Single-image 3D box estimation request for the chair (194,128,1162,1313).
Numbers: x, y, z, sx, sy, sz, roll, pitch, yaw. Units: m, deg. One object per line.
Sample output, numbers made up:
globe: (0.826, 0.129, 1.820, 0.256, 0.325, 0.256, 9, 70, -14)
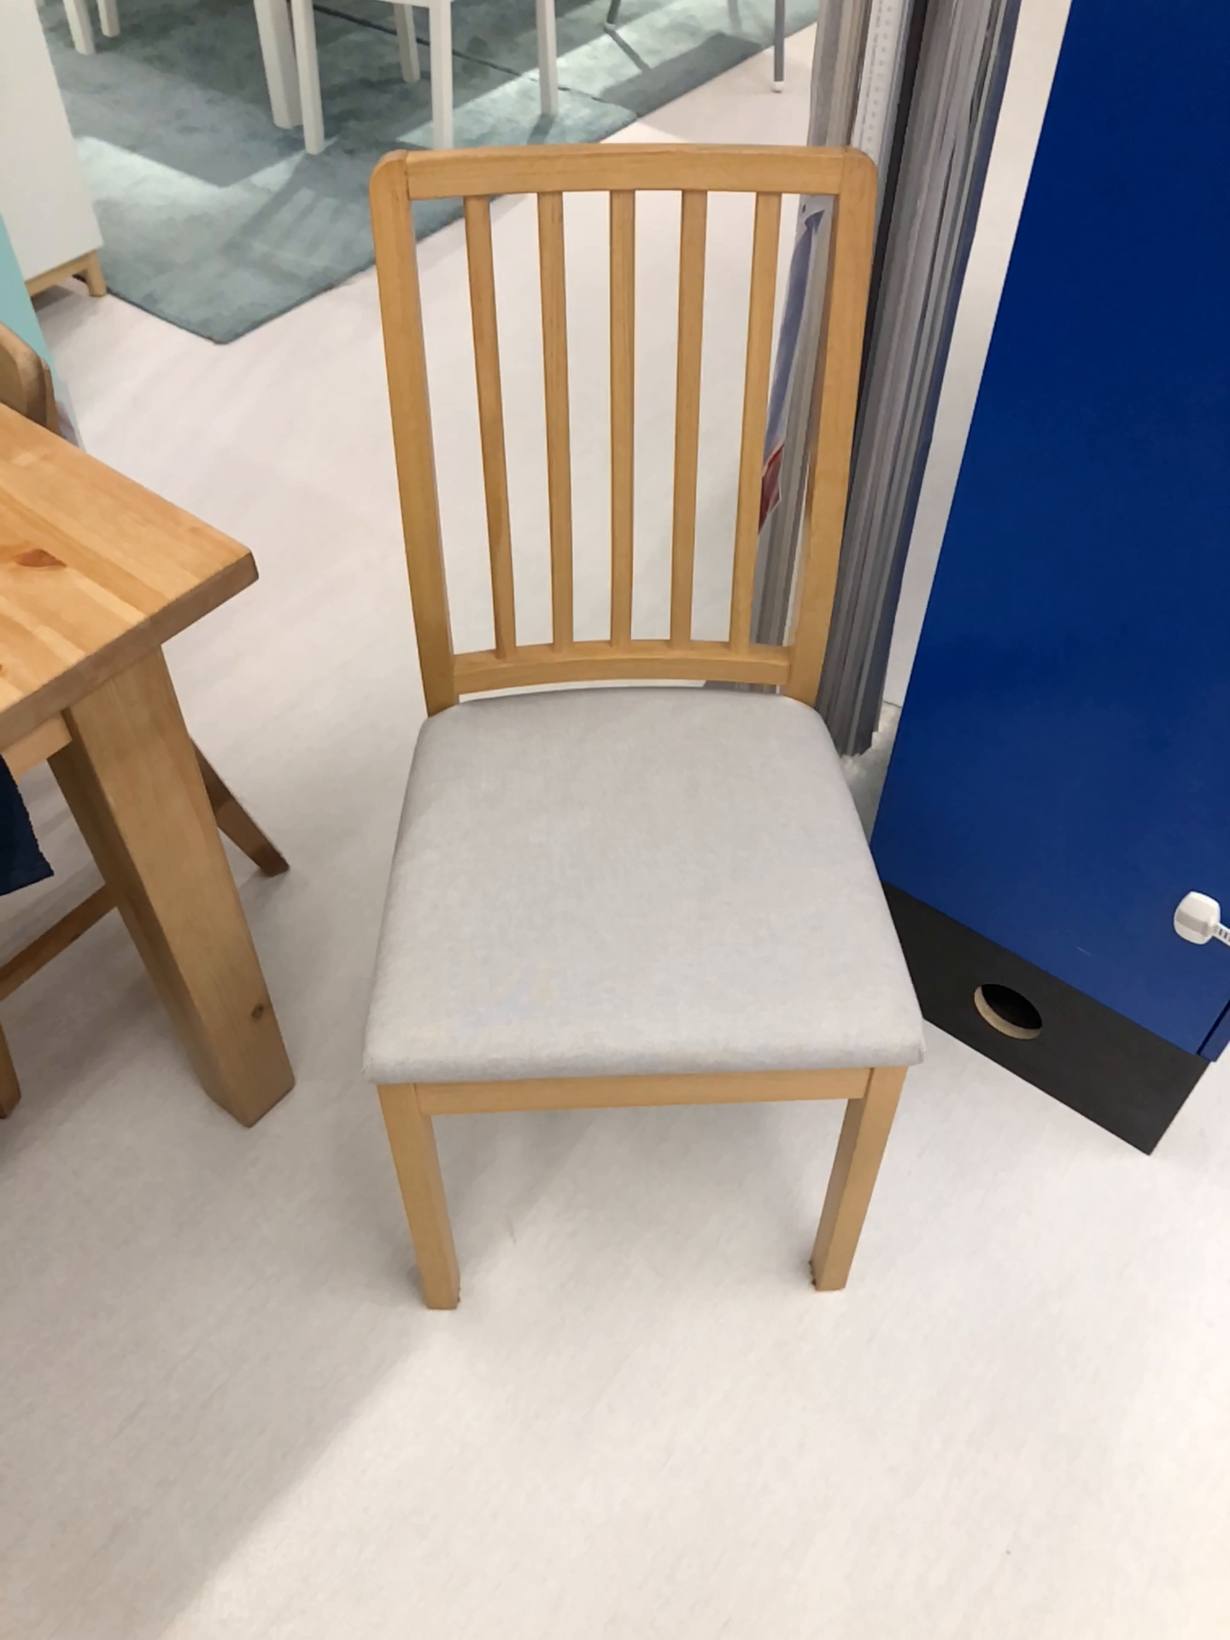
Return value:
chair: (0.017, -0.018, 1.117, 0.450, 0.855, 0.513, -1, 49, -2)
